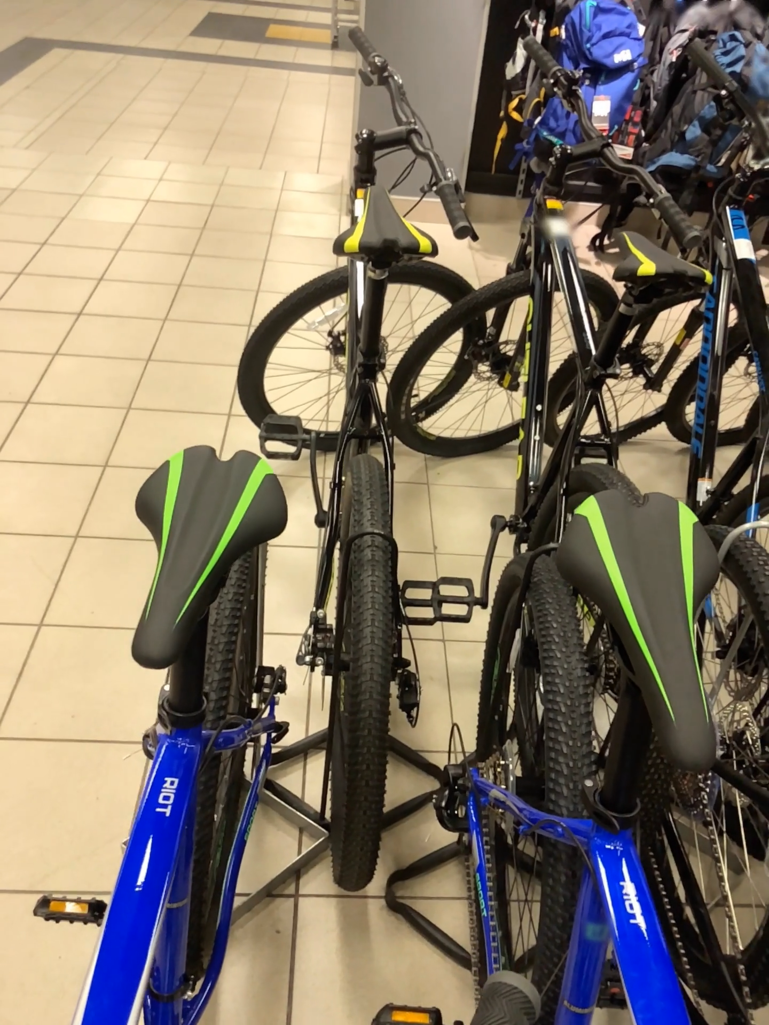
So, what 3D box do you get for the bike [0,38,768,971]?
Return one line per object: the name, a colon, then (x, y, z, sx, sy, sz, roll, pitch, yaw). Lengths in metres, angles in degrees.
bike: (-0.255, -0.136, 1.523, 0.661, 1.044, 1.359, -3, 36, -12)
